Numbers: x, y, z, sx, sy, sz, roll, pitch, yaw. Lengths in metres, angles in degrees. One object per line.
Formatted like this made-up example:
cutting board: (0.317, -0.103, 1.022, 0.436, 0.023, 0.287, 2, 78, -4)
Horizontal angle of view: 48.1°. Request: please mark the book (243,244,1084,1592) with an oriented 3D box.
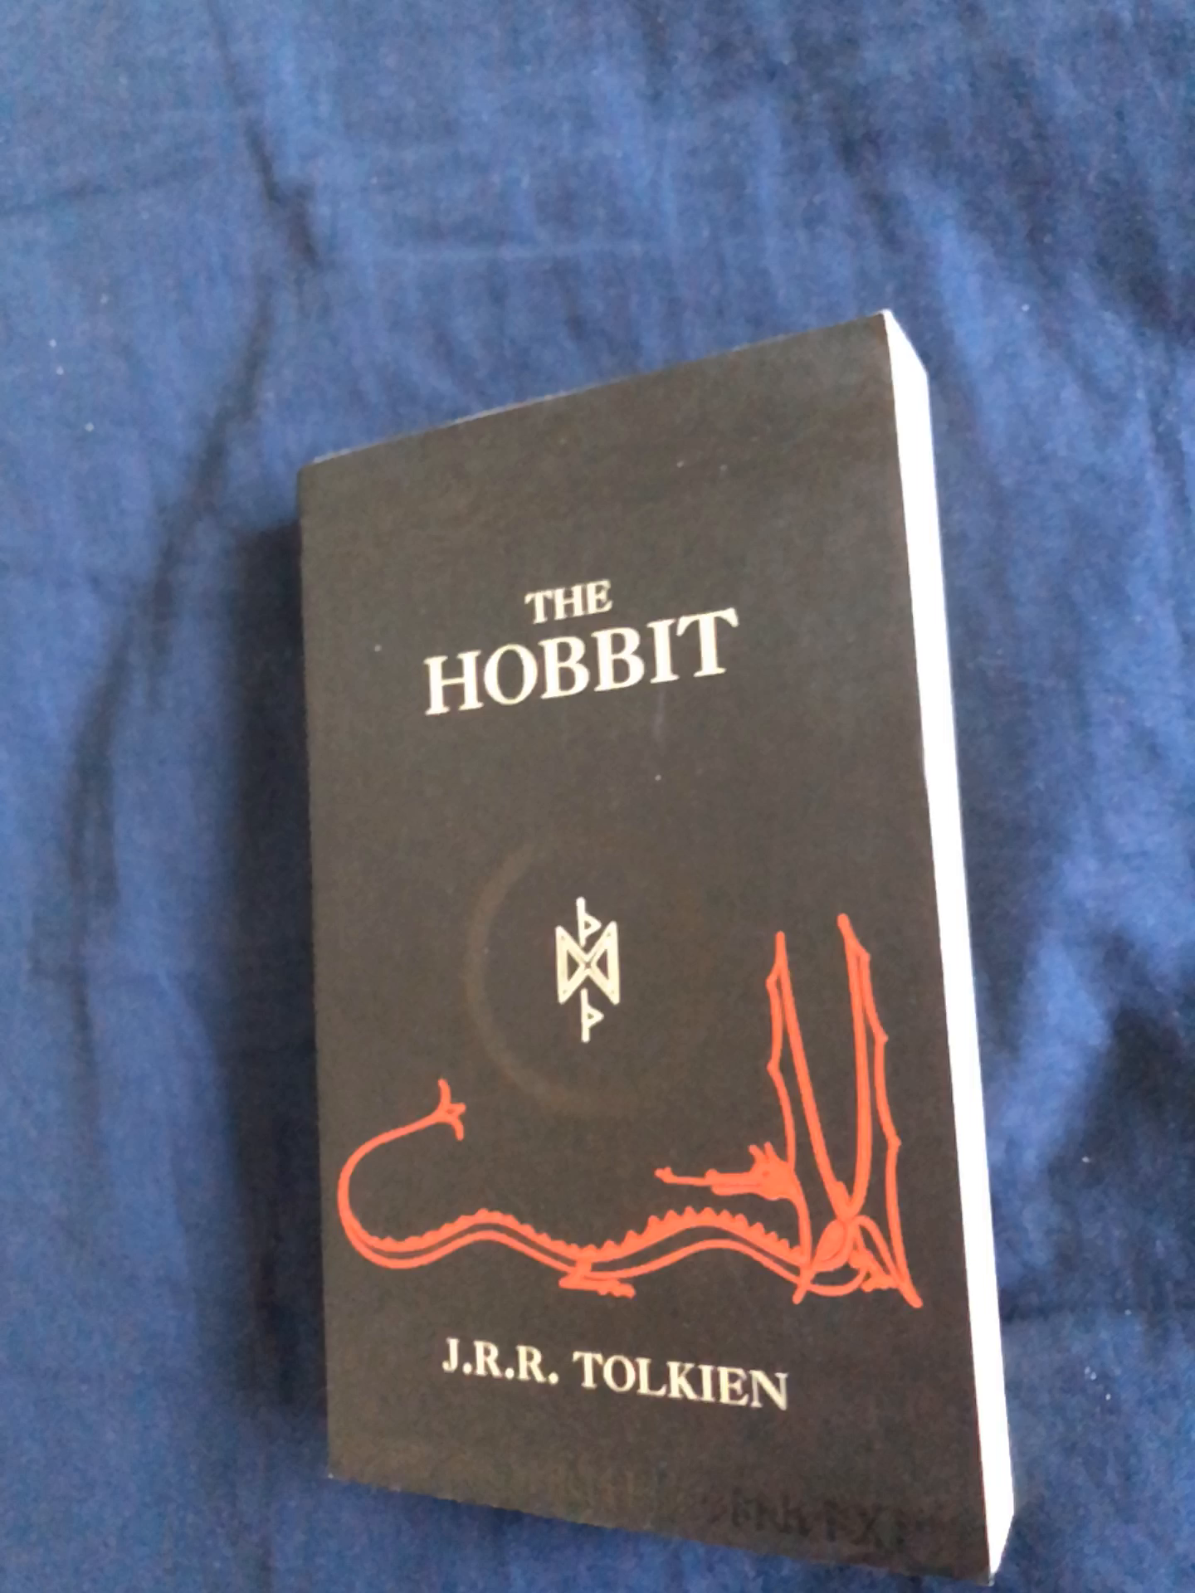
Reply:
book: (0.005, 0.021, 0.216, 0.120, 0.040, 0.180, -6, 82, 26)
